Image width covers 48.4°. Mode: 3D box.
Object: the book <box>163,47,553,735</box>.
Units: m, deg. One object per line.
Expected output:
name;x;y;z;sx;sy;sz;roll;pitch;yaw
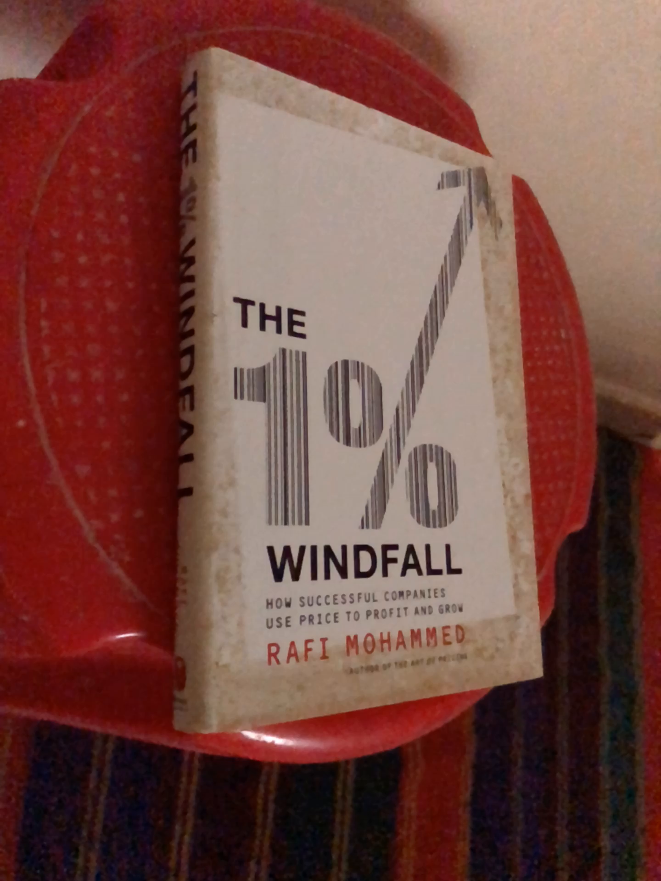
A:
book;0.019;-0.018;0.339;0.181;0.040;0.260;5;79;-35
